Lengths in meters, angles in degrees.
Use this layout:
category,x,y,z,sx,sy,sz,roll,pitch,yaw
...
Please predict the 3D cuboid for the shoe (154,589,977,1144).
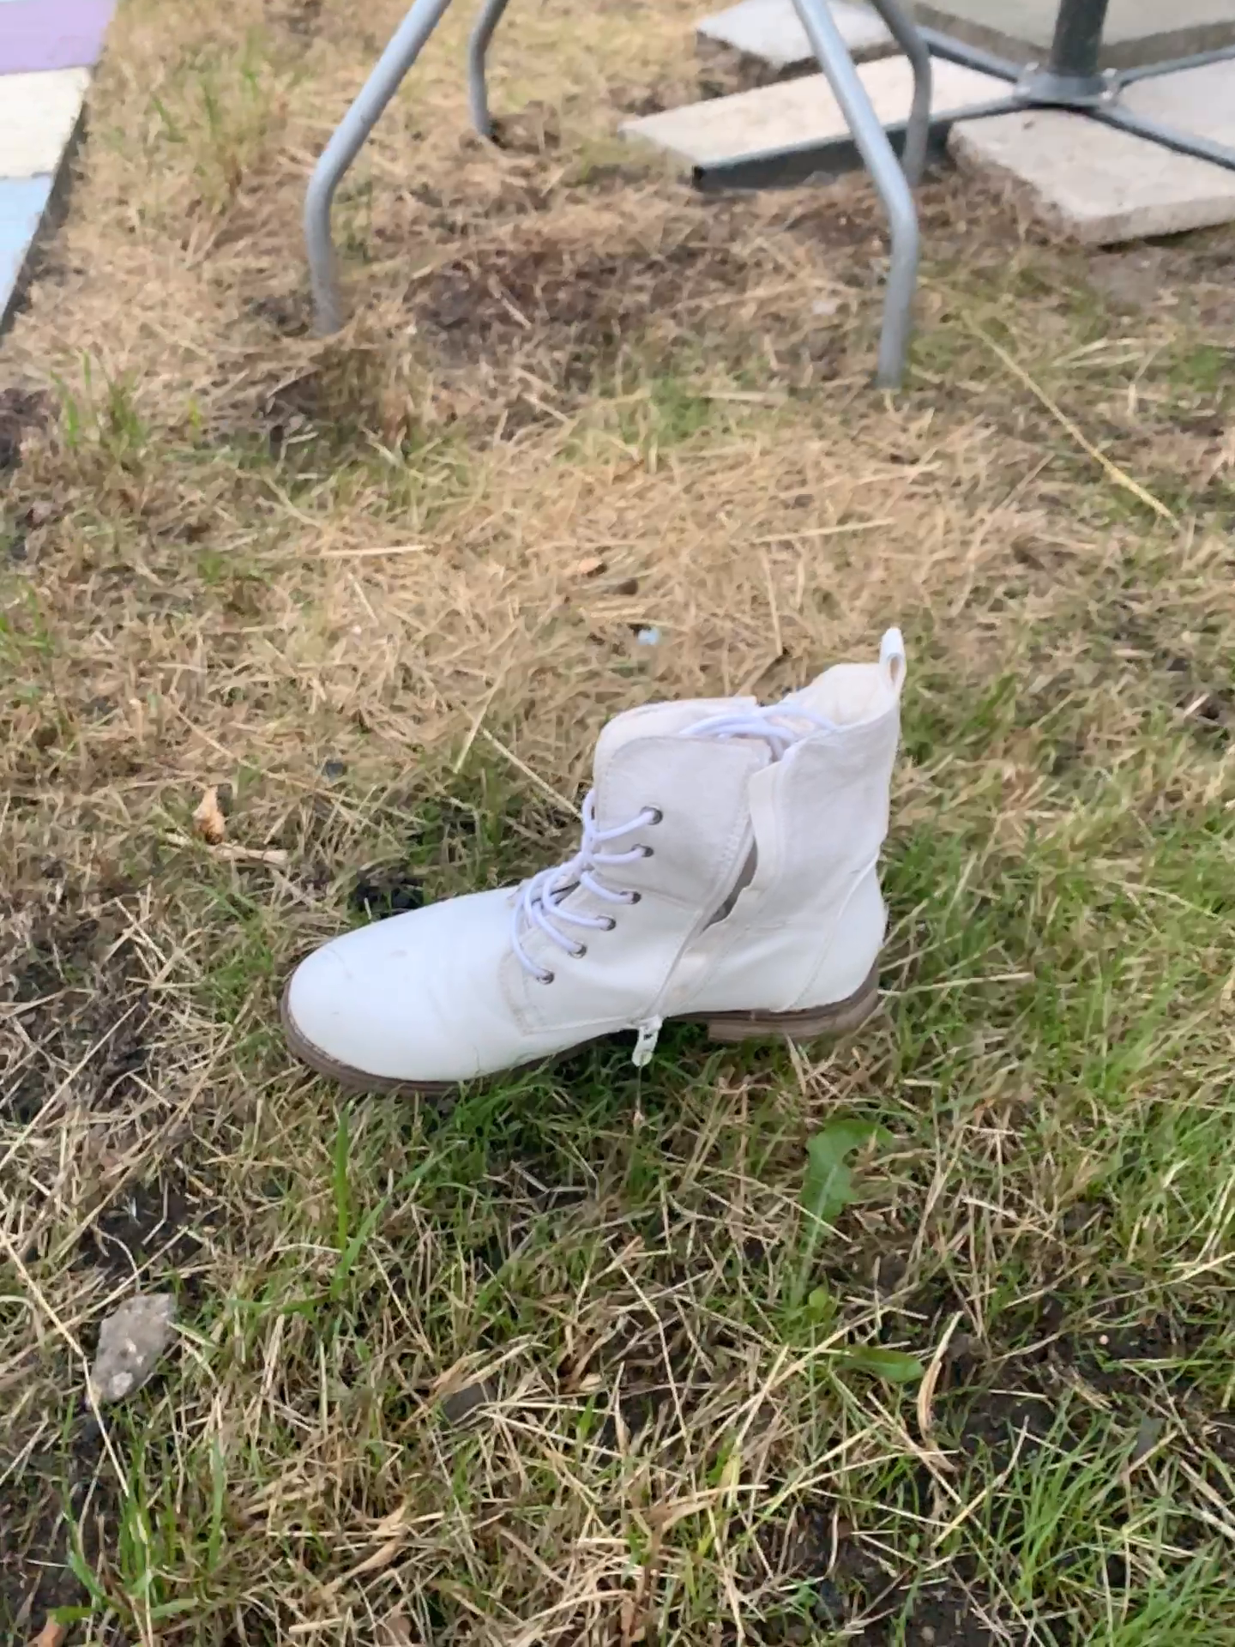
category,x,y,z,sx,sy,sz,roll,pitch,yaw
shoe,-0.017,0.021,0.499,0.260,0.178,0.101,-5,44,-3
